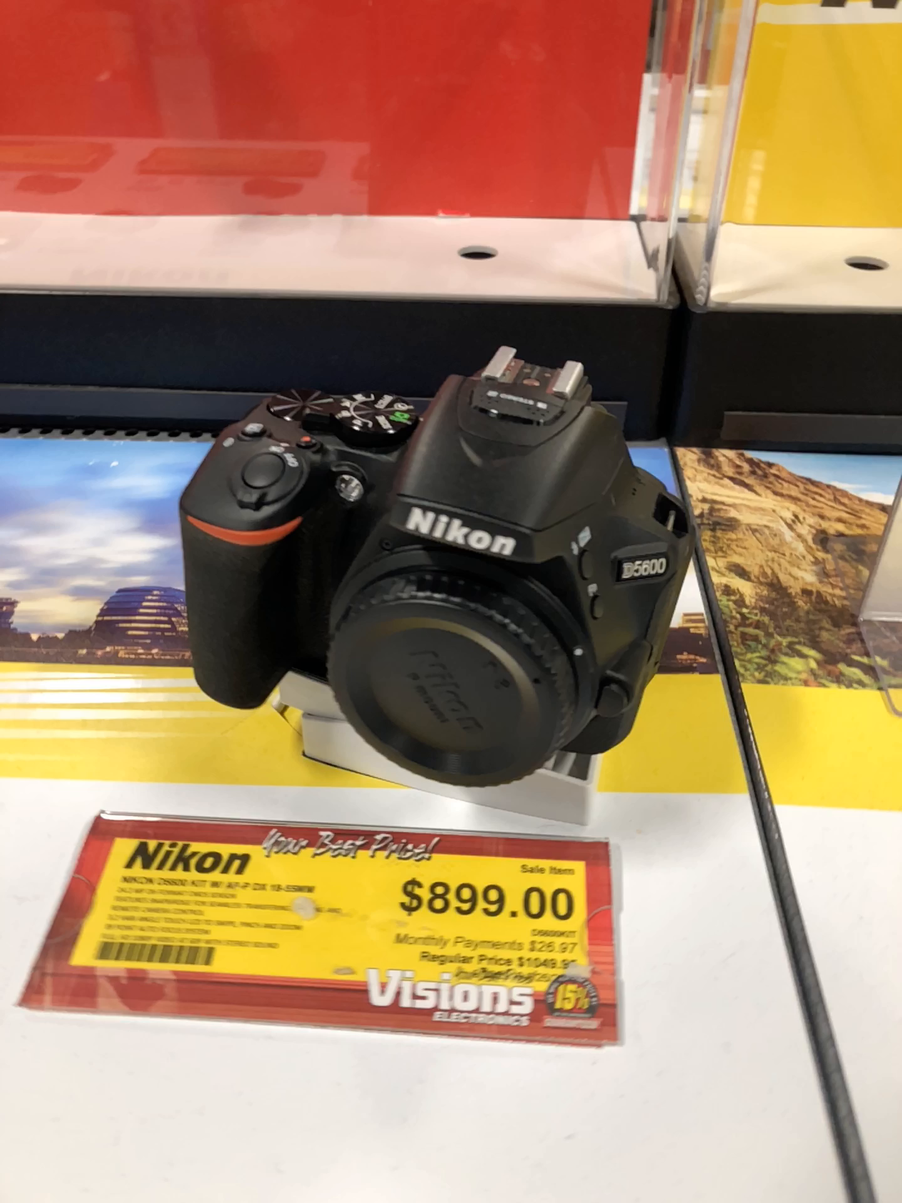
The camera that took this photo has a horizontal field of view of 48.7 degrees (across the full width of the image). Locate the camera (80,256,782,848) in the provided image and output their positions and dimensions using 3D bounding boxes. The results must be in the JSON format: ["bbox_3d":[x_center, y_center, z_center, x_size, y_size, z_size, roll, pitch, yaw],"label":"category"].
[{"bbox_3d":[-0.002,-0.018,0.251,0.140,0.089,0.080,15,37,12],"label":"camera"}]
